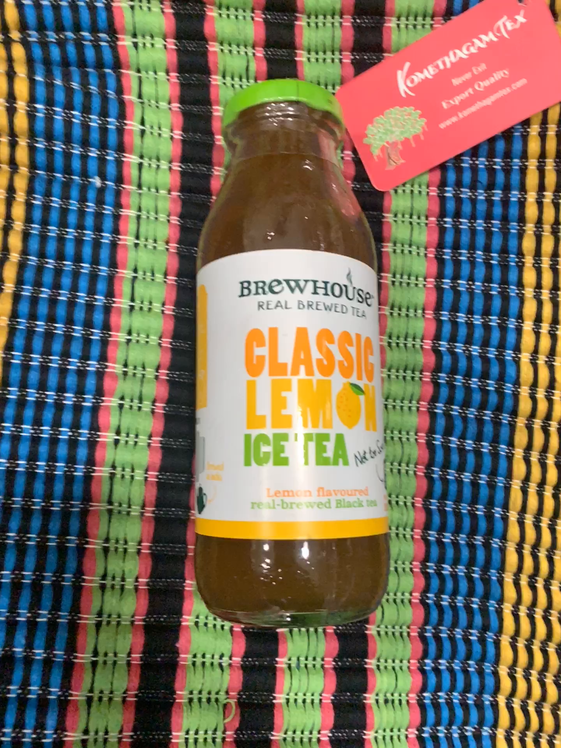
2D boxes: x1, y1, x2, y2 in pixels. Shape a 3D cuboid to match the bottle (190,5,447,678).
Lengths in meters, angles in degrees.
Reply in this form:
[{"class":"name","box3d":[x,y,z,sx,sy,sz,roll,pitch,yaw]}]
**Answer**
[{"class":"bottle","box3d":[0.005,-0.013,0.184,0.060,0.050,0.180,1,80,-15]}]
